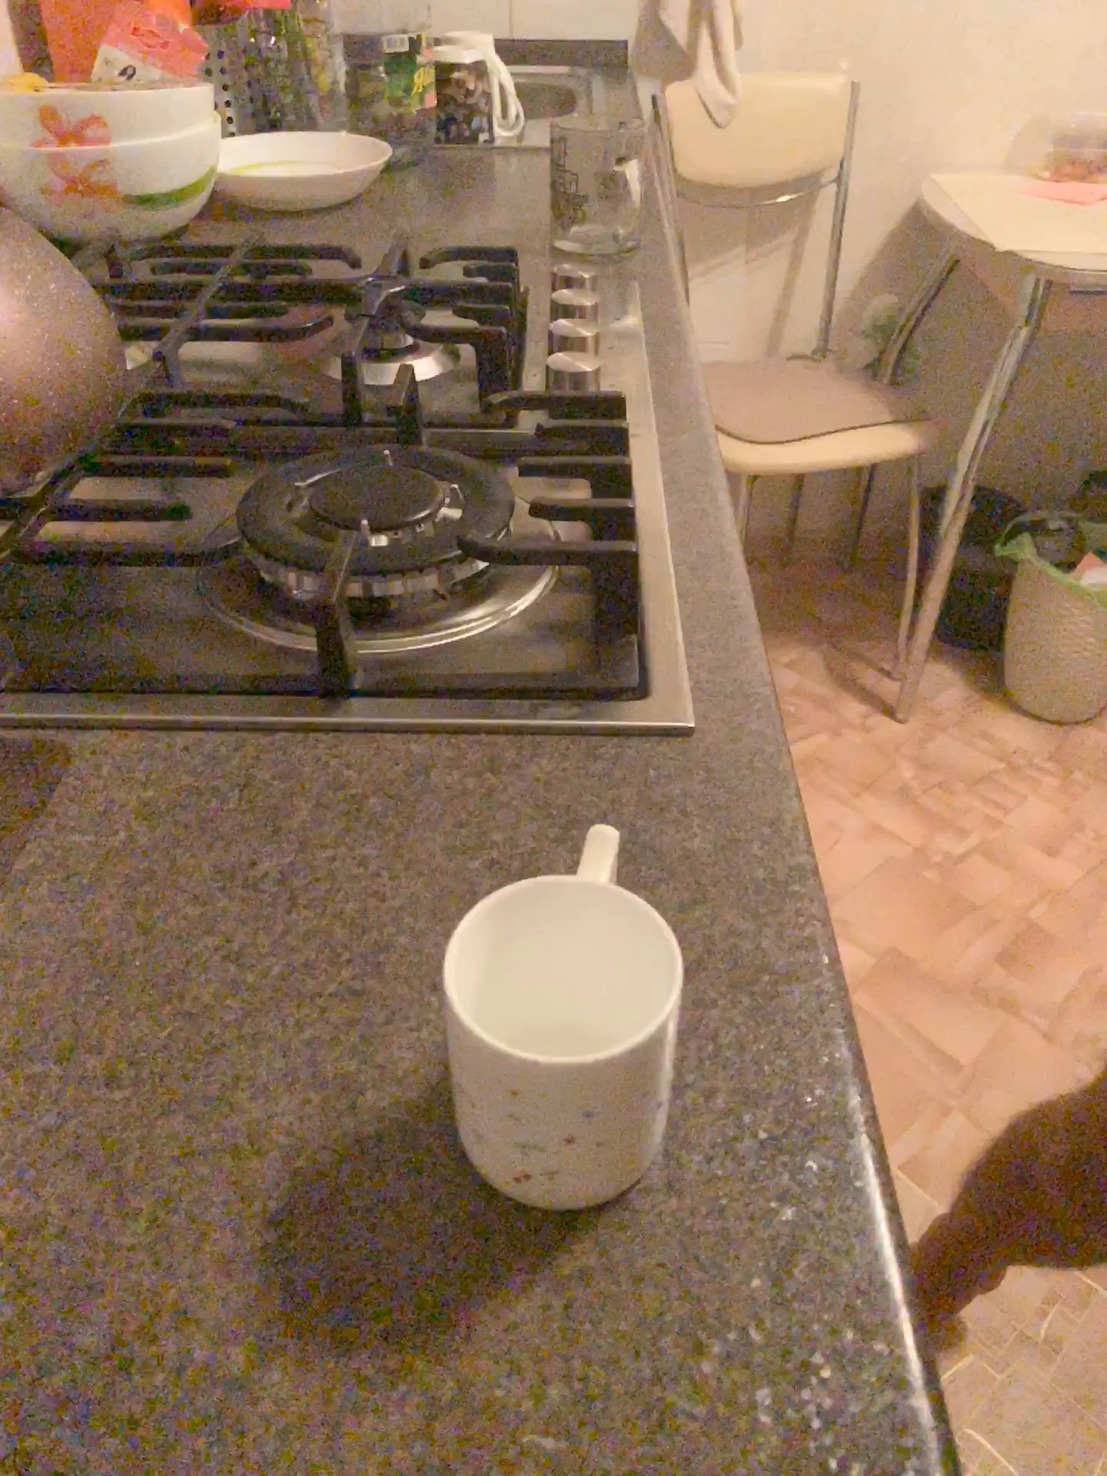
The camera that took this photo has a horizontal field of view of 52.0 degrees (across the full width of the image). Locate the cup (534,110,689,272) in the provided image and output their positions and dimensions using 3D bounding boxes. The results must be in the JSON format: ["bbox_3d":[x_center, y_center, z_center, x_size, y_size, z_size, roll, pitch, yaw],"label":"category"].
[{"bbox_3d":[0.039,-0.392,0.811,0.064,0.081,0.100,-19,41,-23],"label":"cup"}]

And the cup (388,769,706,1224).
[{"bbox_3d":[0.000,0.061,0.283,0.064,0.061,0.090,1,37,2],"label":"cup"}]
